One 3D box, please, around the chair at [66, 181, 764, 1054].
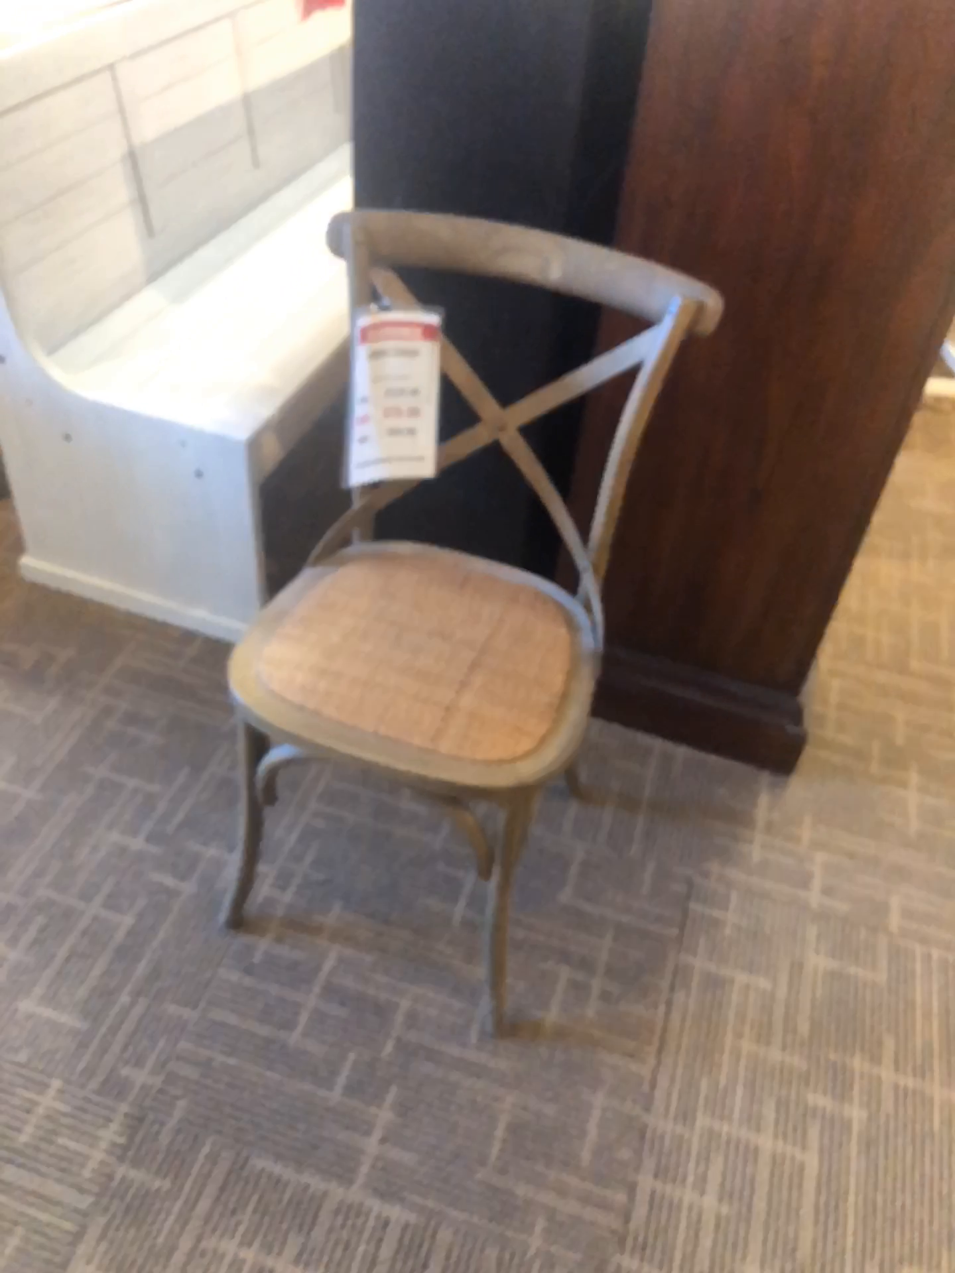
[{"bbox_3d":[-0.048,-0.015,1.349,0.515,0.813,0.568,18,44,12],"label":"chair"}]
